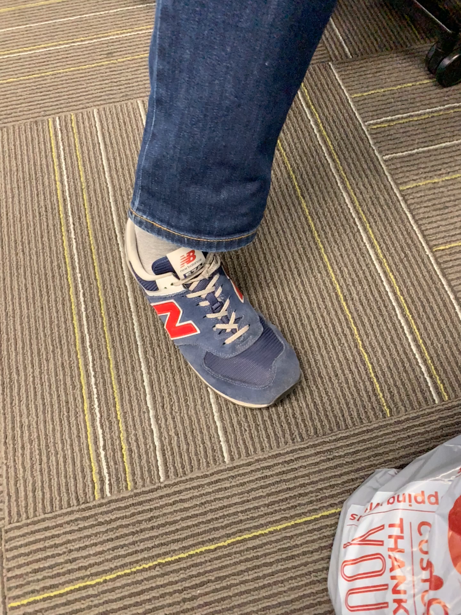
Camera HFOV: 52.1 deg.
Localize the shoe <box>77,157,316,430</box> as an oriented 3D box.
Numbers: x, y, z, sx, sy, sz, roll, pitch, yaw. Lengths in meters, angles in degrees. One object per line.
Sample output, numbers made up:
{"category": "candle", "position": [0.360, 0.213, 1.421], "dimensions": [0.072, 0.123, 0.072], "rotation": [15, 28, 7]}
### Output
{"category": "shoe", "position": [-0.047, -0.018, 0.585], "dimensions": [0.108, 0.139, 0.308], "rotation": [-35, 69, -14]}
